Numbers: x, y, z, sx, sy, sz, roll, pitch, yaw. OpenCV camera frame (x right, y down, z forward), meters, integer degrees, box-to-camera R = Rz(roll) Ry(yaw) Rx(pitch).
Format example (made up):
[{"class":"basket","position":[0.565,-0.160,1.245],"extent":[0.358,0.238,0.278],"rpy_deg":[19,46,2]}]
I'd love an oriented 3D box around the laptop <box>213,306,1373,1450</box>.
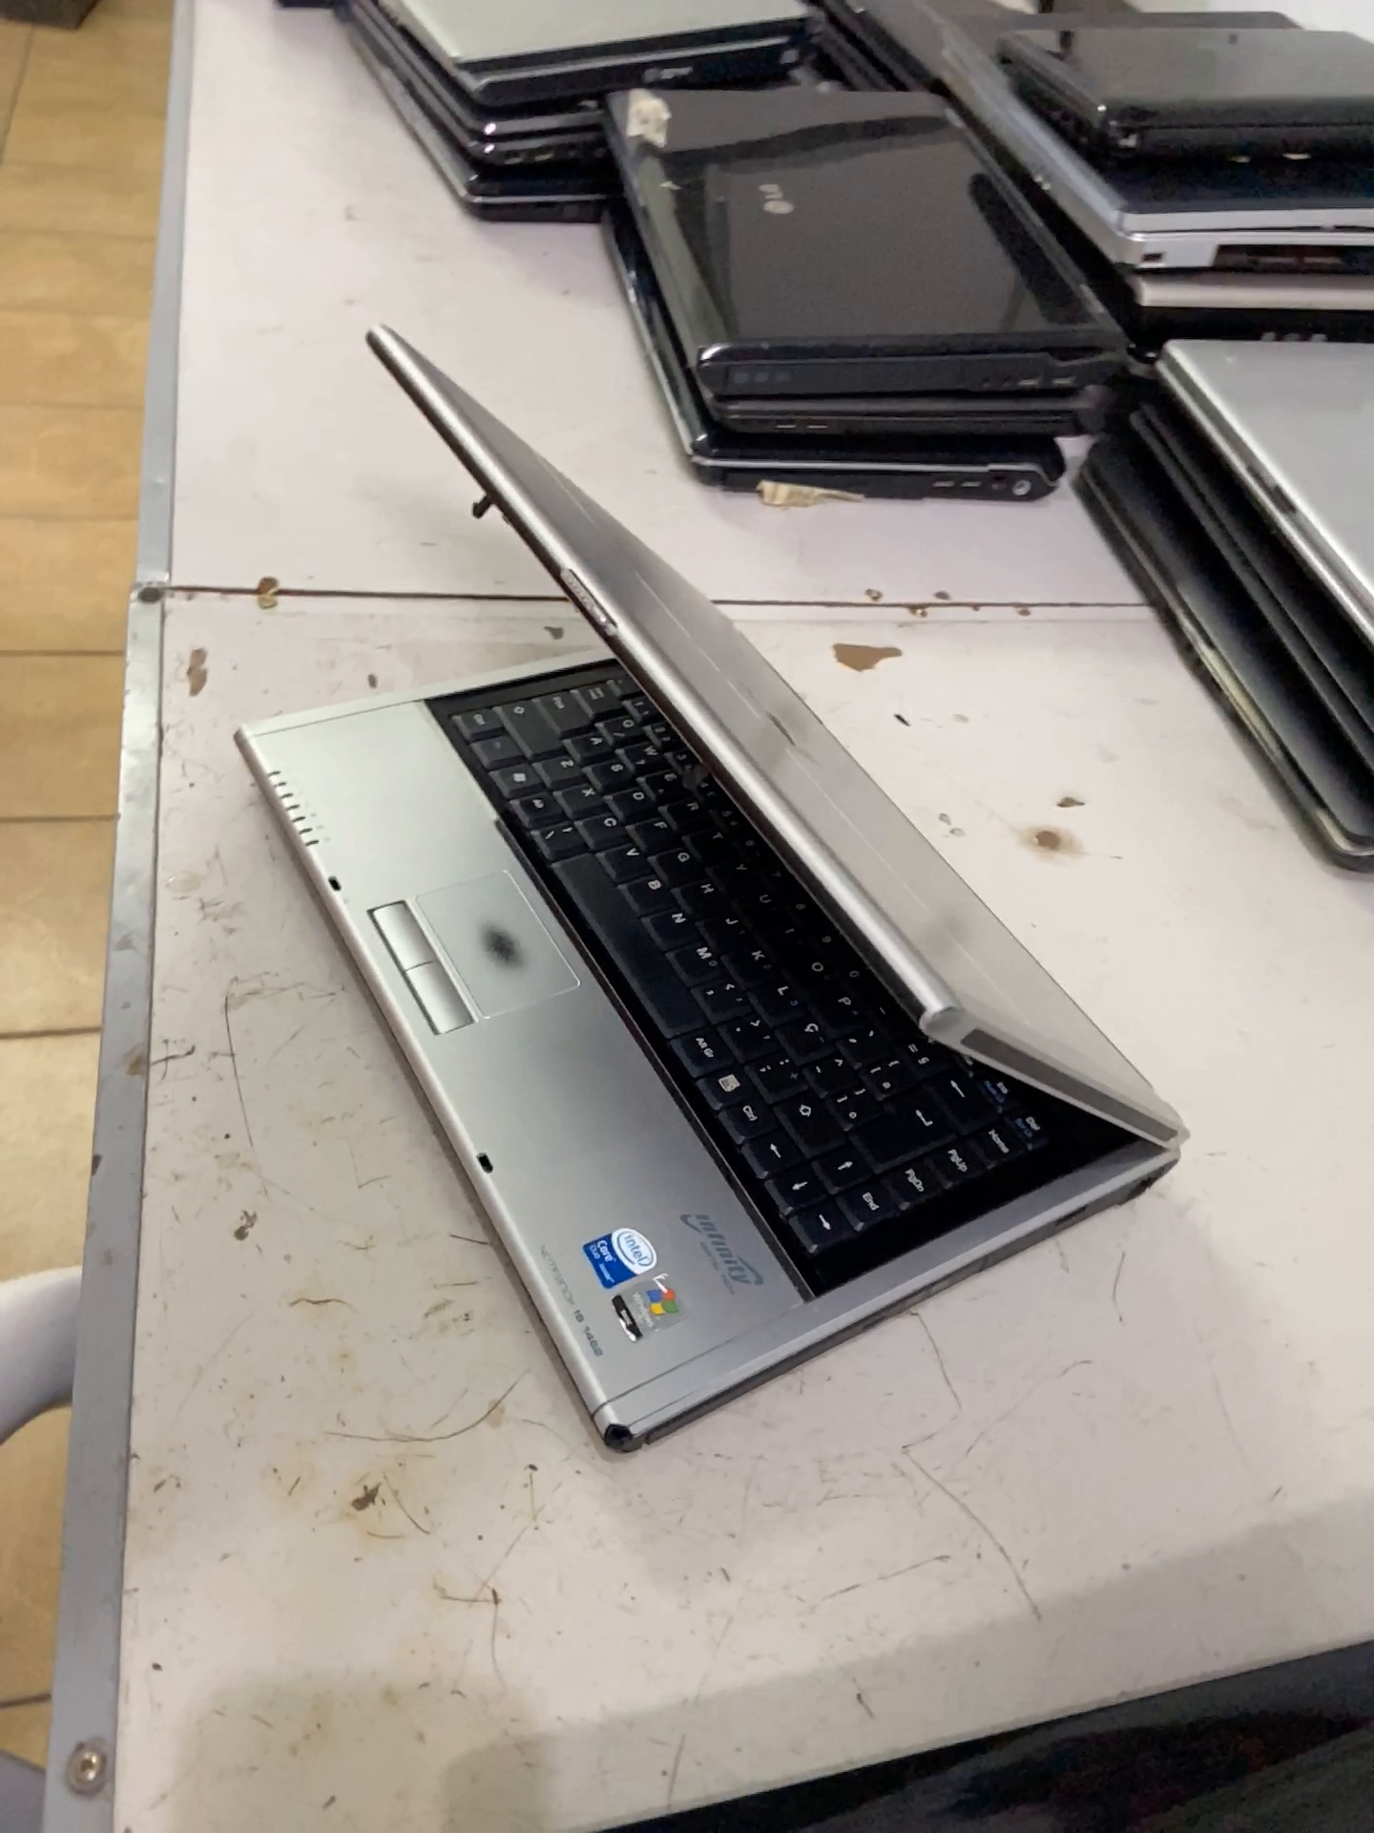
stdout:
[{"class":"laptop","position":[0.008,-0.047,0.488],"extent":[0.228,0.164,0.331],"rpy_deg":[-18,53,-26]}]
